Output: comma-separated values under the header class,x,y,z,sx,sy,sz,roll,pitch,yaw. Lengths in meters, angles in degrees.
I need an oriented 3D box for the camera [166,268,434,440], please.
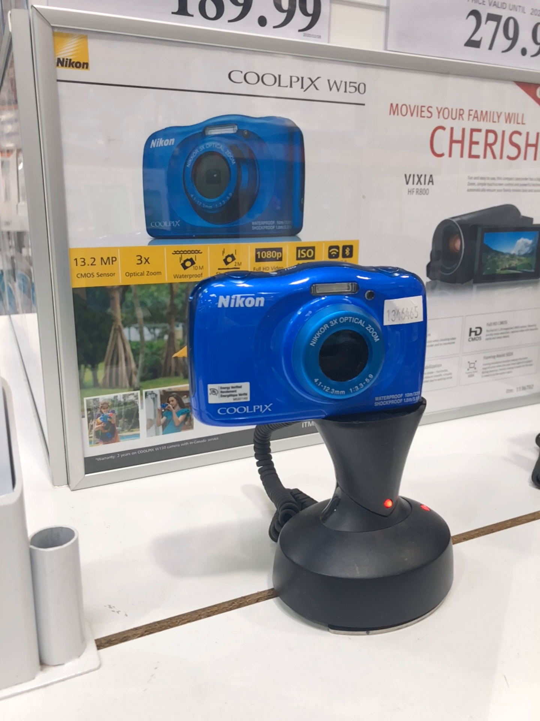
class,x,y,z,sx,sy,sz,roll,pitch,yaw
camera,0.013,-0.007,0.269,0.110,0.060,0.040,-5,15,-21
